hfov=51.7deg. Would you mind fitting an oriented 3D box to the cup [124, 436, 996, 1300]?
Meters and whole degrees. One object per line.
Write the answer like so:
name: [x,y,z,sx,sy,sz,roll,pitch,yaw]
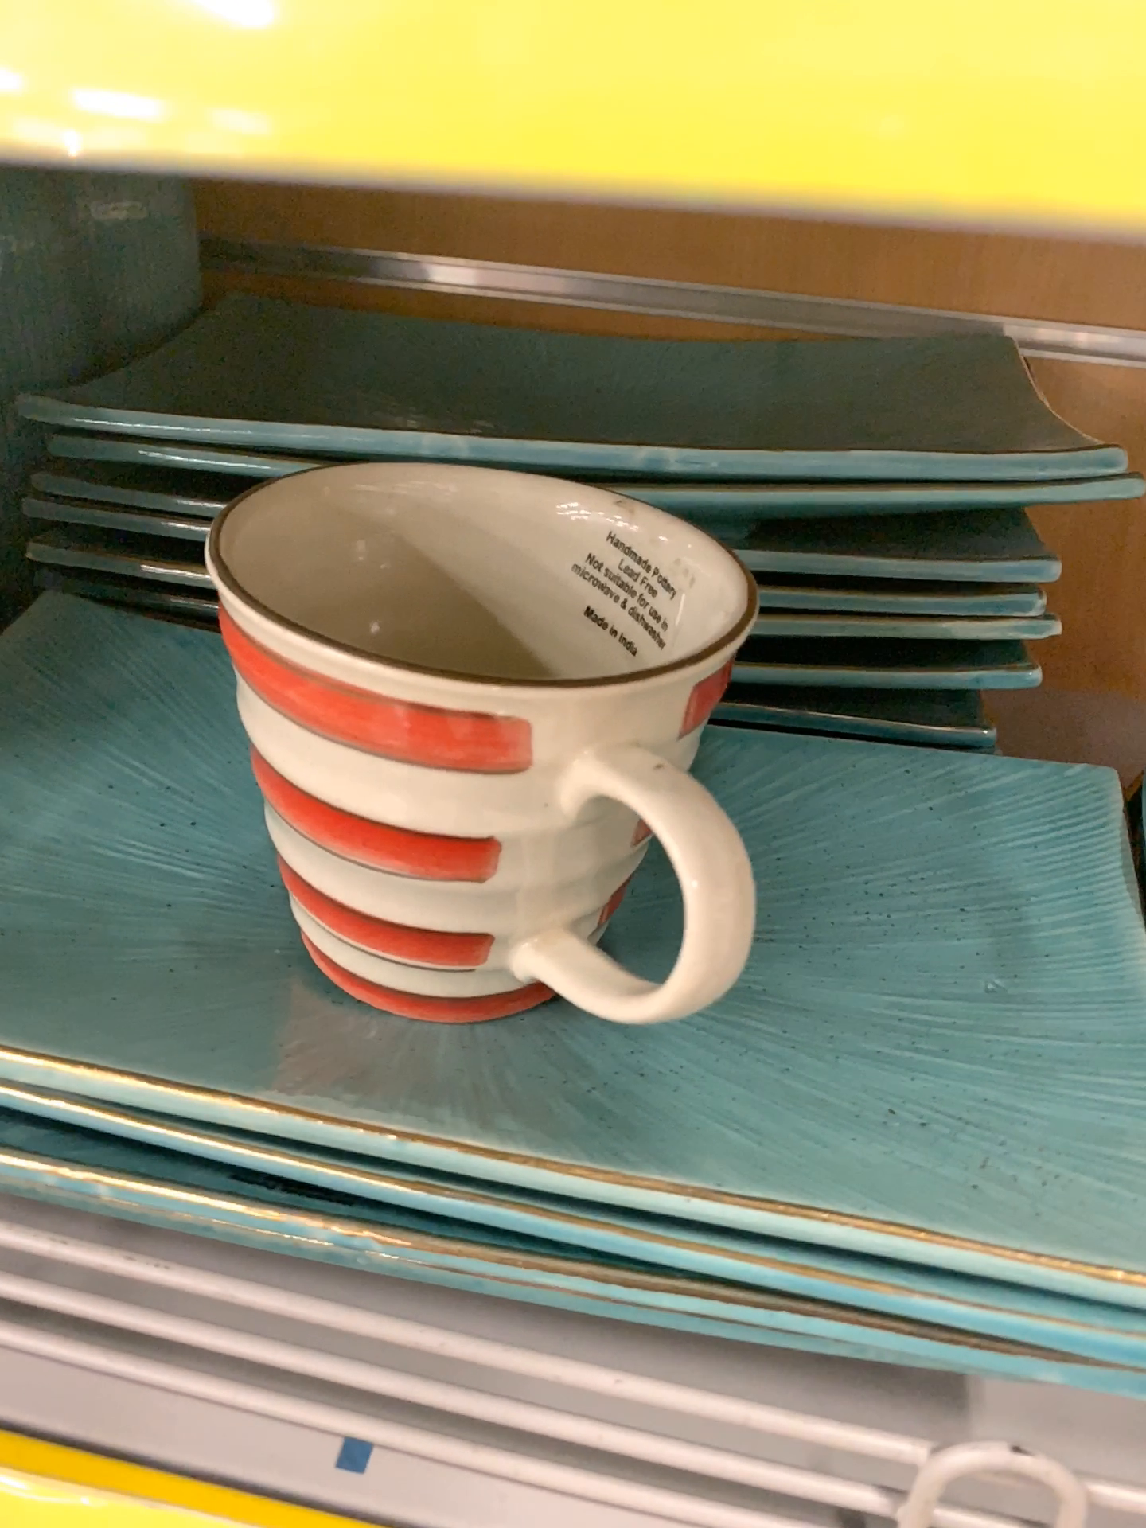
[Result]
cup: [-0.014,0.003,0.232,0.100,0.090,0.130,-15,38,-31]
